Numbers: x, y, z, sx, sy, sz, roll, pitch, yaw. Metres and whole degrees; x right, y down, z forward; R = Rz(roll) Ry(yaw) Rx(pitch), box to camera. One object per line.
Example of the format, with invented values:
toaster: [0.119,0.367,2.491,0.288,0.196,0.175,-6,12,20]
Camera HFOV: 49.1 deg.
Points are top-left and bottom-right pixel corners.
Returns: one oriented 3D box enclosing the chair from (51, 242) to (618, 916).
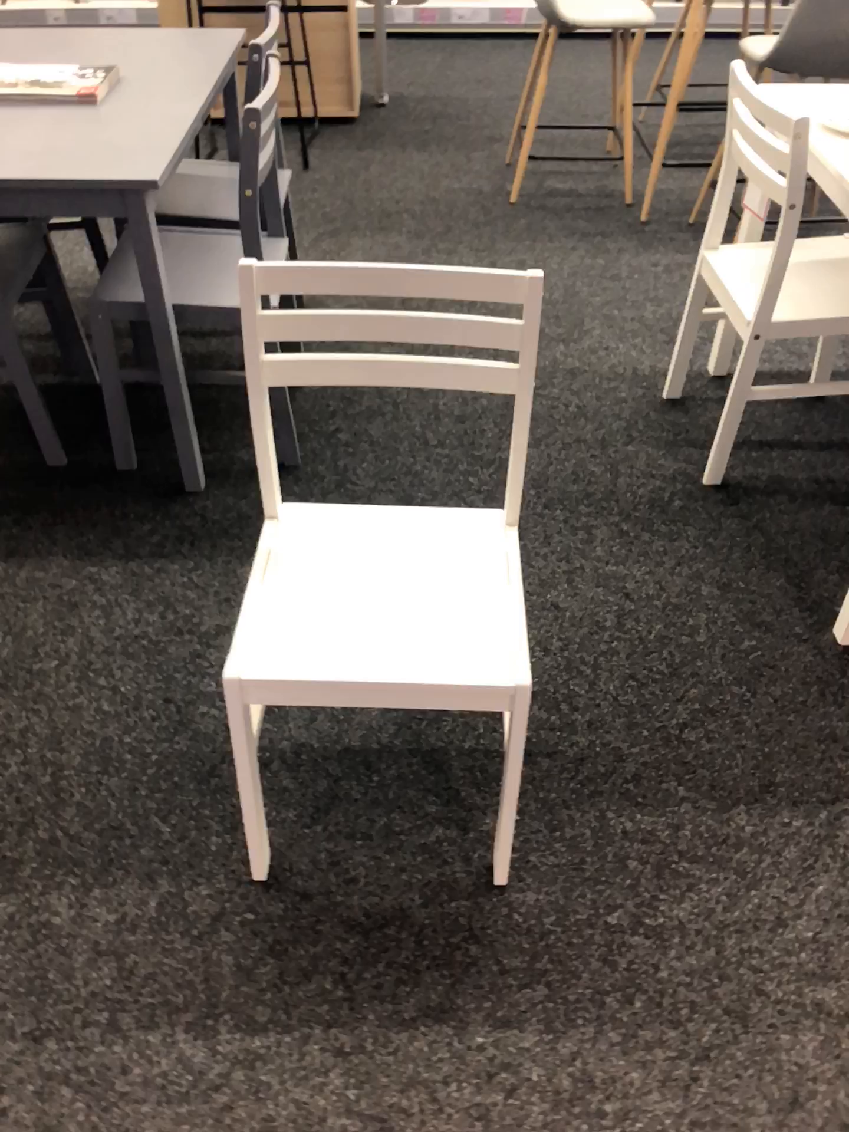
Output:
chair: [-0.074,0.040,1.260,0.500,0.766,0.503,1,41,1]
